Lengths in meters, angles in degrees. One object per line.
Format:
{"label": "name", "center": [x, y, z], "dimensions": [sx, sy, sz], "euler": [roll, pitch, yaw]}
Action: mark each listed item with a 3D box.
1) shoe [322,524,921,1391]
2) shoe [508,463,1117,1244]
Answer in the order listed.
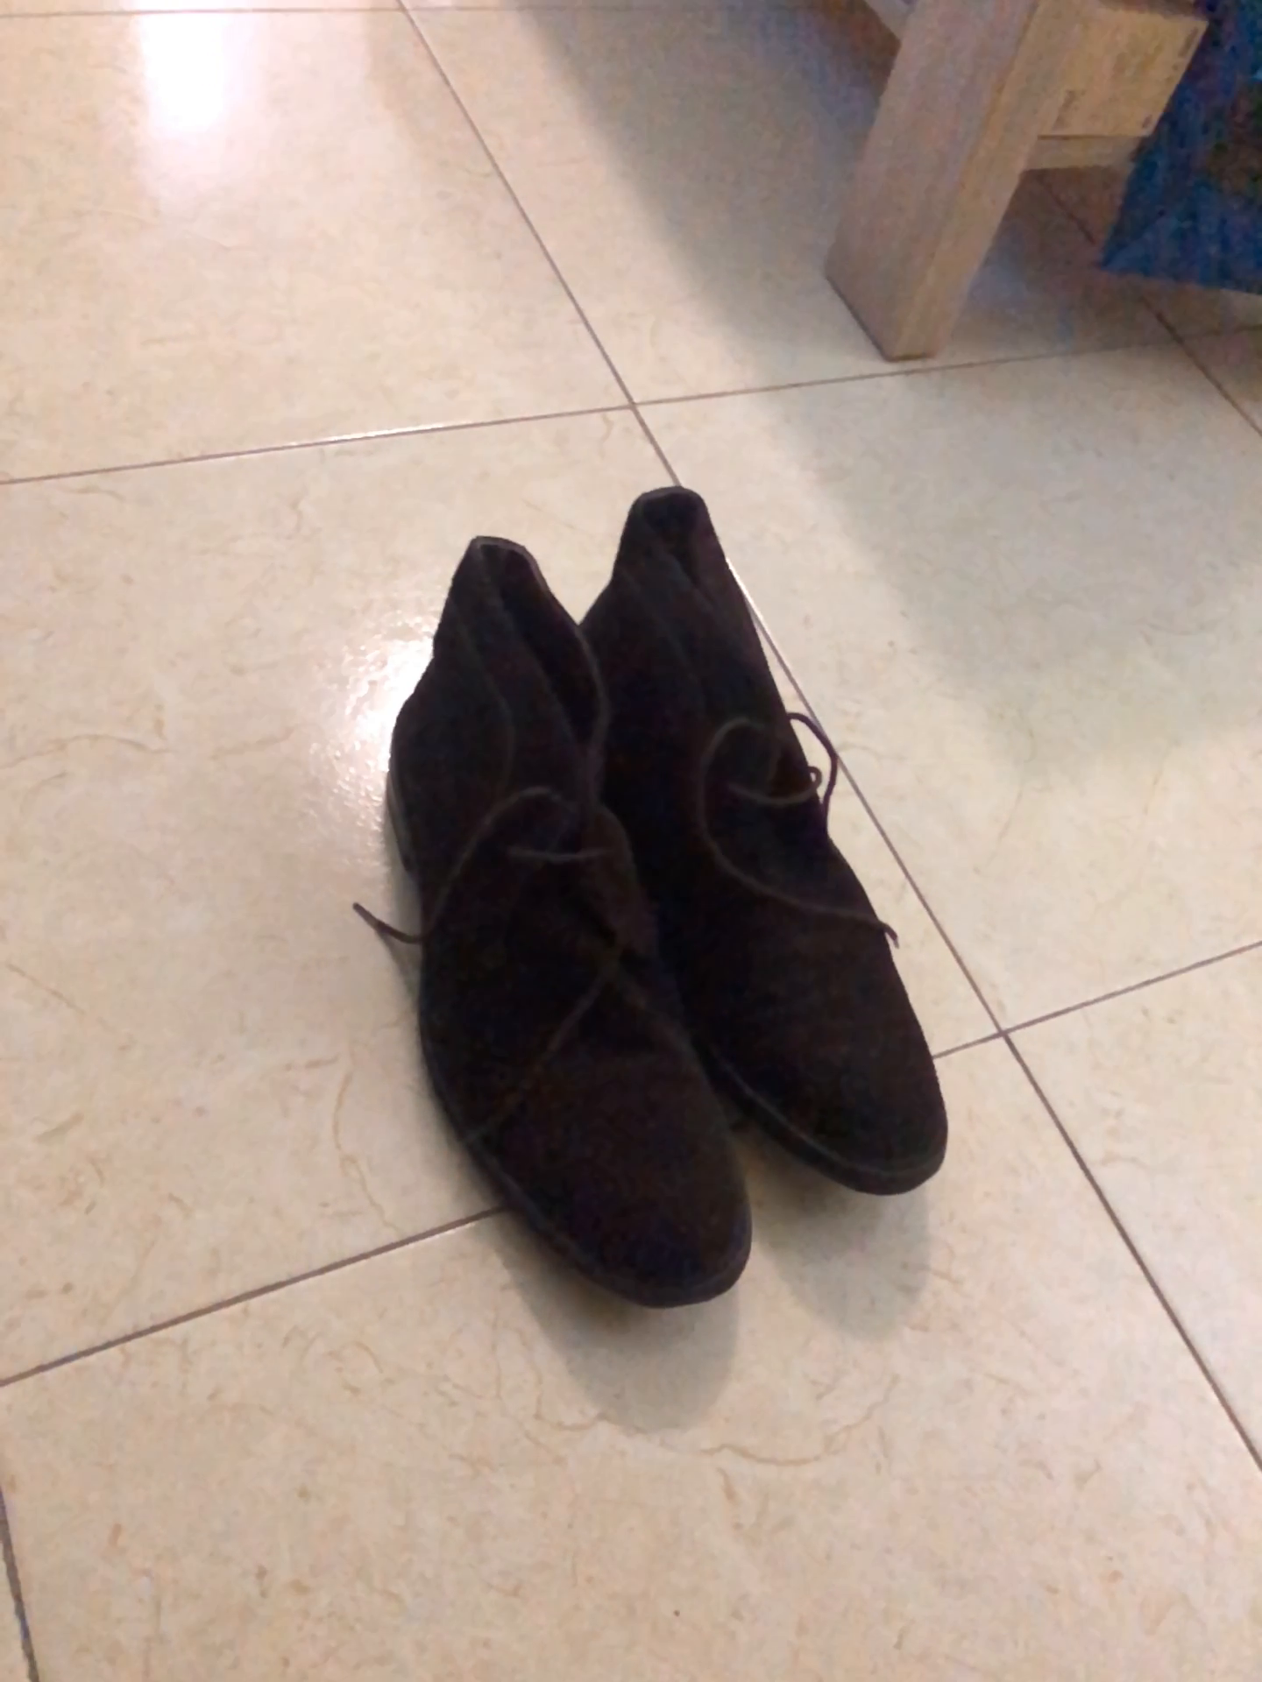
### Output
{"label": "shoe", "center": [-0.025, 0.034, 0.552], "dimensions": [0.110, 0.130, 0.300], "euler": [-13, 60, -22]}
{"label": "shoe", "center": [0.057, -0.004, 0.613], "dimensions": [0.110, 0.140, 0.300], "euler": [-13, 60, -22]}
